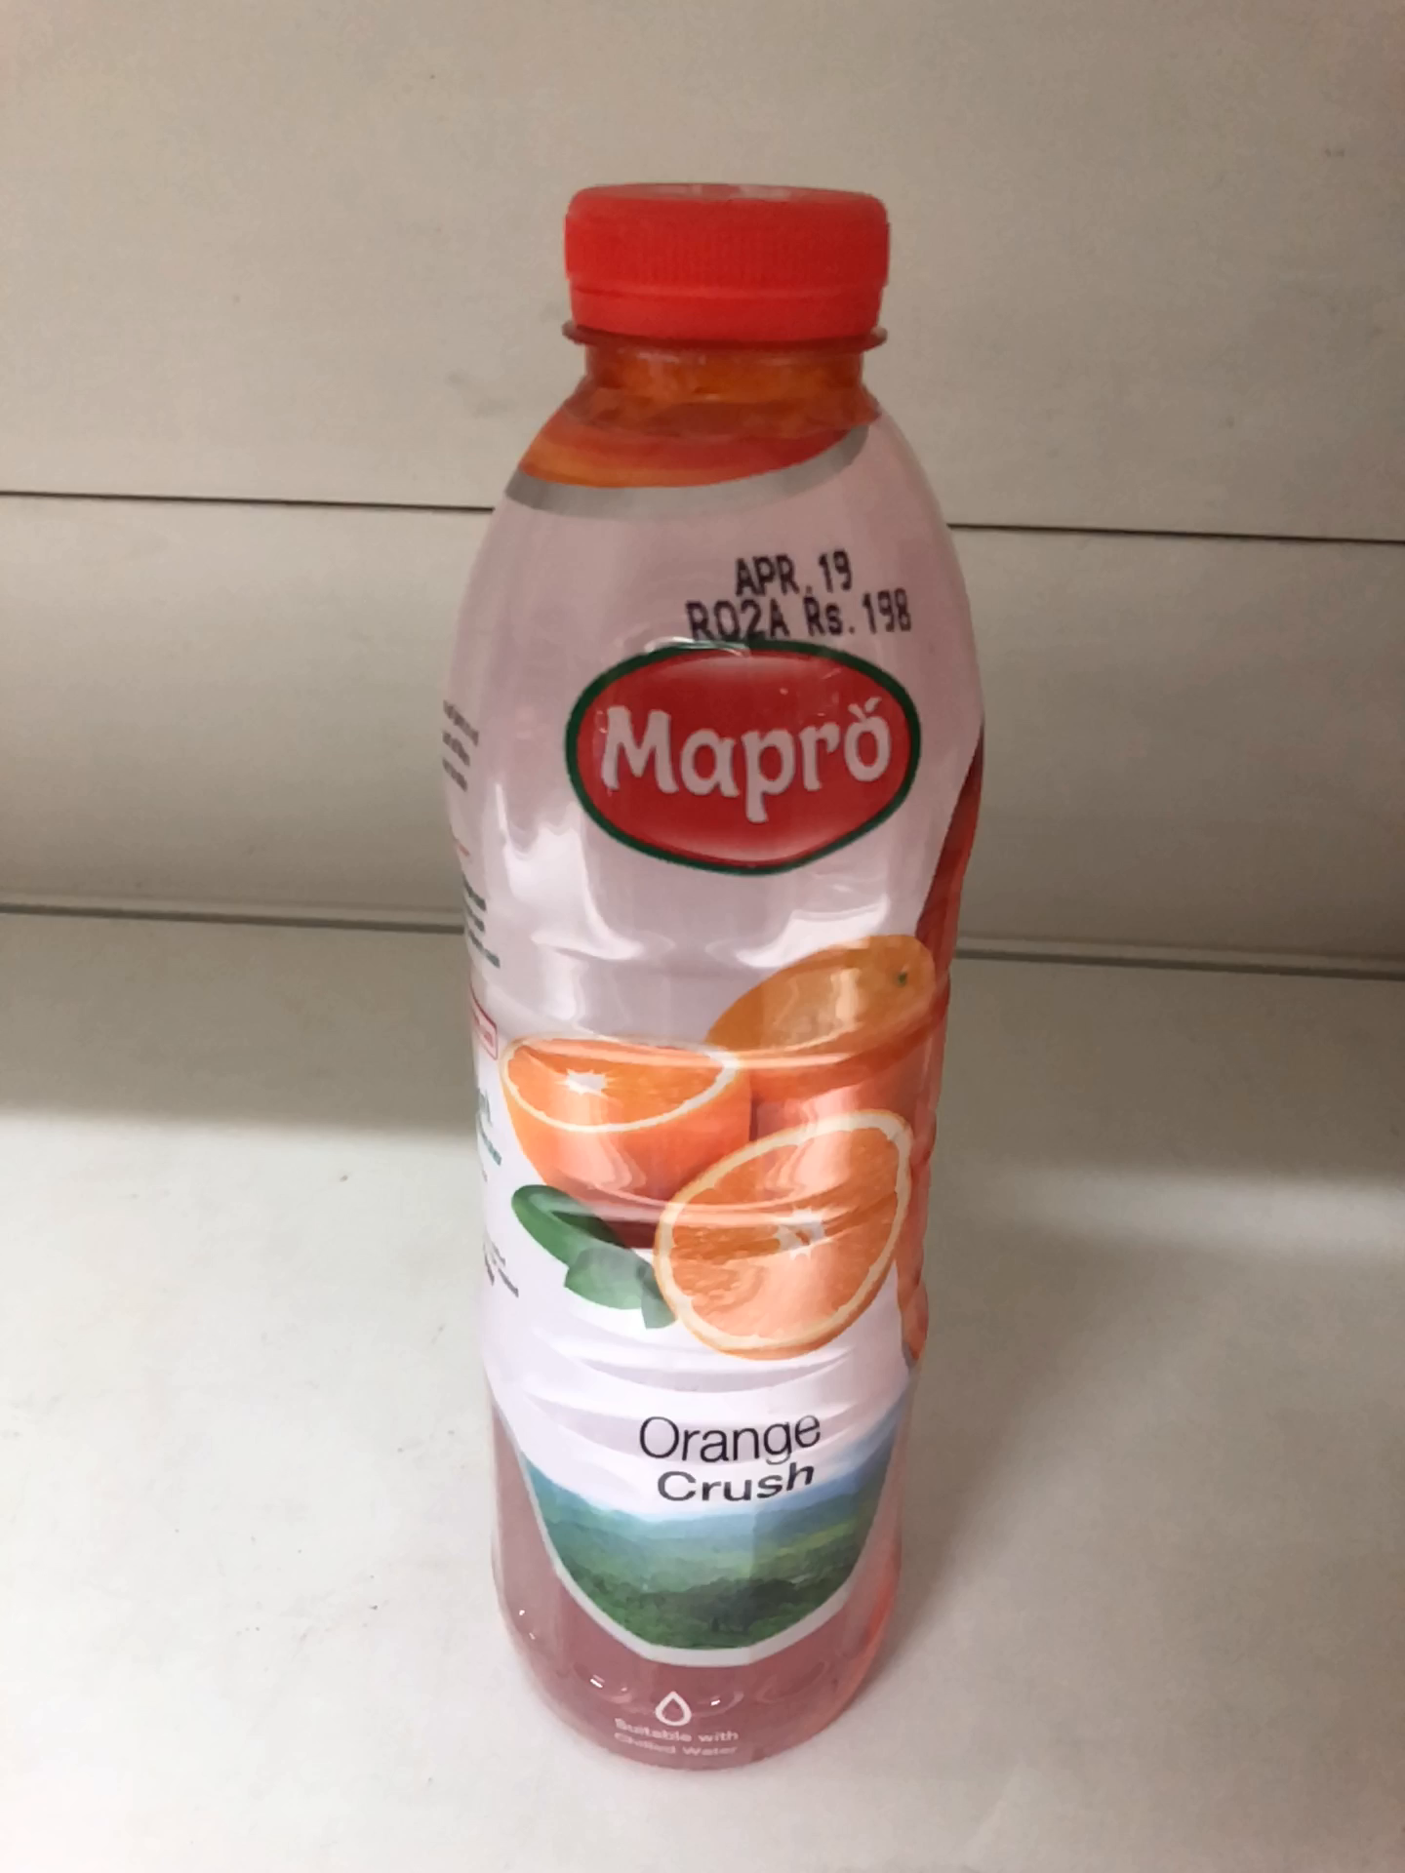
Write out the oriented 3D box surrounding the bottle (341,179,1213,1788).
[{"bbox_3d":[0.003,0.020,0.248,0.090,0.248,0.070,-1,28,-5],"label":"bottle"}]
